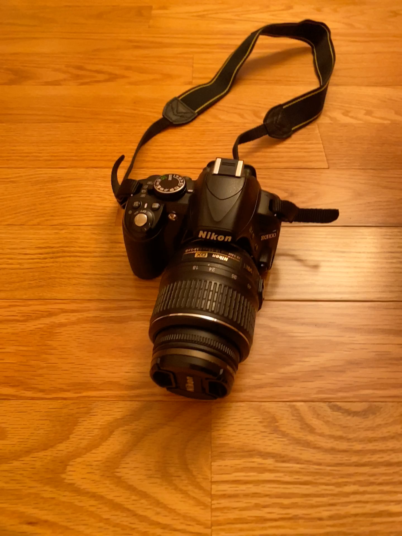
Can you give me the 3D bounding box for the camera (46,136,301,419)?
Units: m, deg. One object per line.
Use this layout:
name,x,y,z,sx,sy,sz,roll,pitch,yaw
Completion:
camera,-0.004,0.002,0.296,0.130,0.099,0.161,6,53,5
